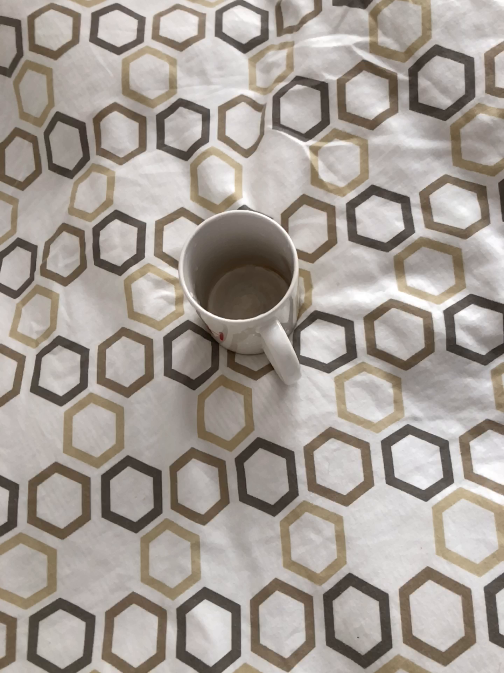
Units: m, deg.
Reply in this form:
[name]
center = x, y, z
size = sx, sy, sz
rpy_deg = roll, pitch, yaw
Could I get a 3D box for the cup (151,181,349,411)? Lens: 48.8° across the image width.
[cup]
center = 0.000, -0.024, 0.411
size = 0.086, 0.088, 0.126
rpy_deg = -25, 77, -1
